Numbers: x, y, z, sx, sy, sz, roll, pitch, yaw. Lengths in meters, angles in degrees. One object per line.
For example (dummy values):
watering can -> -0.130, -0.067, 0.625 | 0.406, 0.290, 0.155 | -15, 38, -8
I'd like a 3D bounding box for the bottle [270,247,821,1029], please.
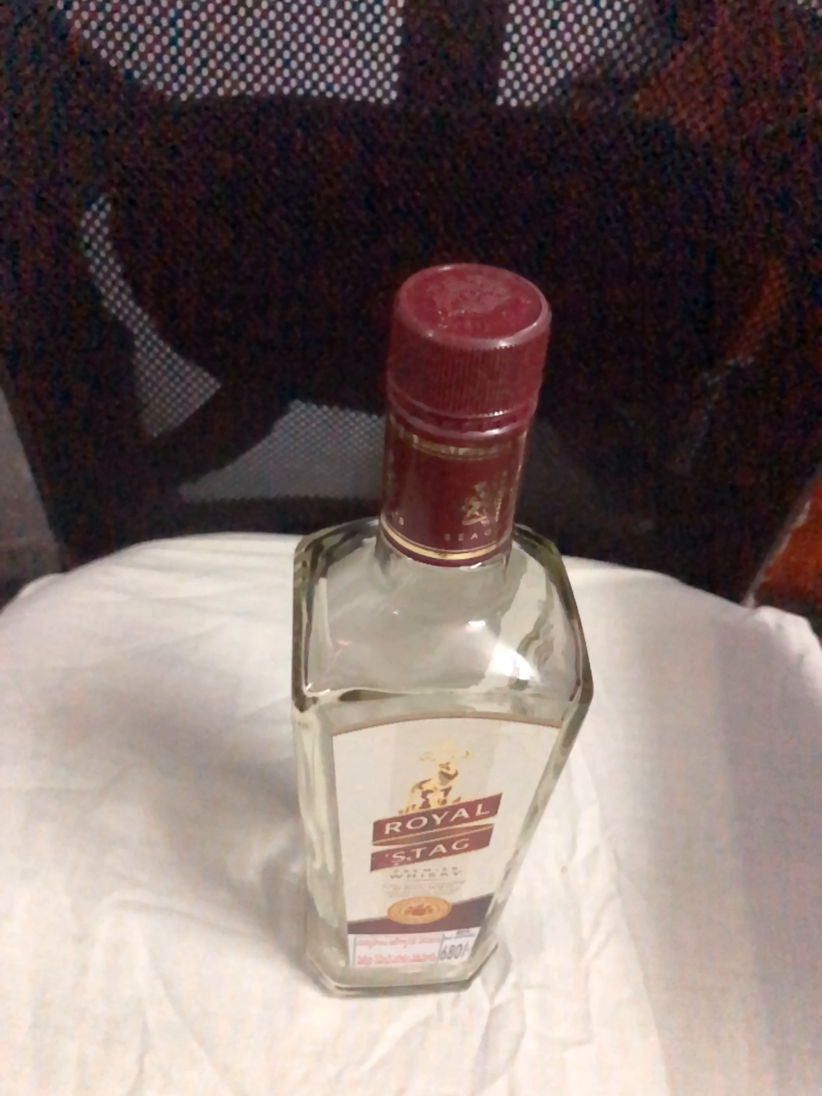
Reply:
bottle -> 0.009, 0.061, 0.262 | 0.090, 0.279, 0.060 | 1, 47, -6
